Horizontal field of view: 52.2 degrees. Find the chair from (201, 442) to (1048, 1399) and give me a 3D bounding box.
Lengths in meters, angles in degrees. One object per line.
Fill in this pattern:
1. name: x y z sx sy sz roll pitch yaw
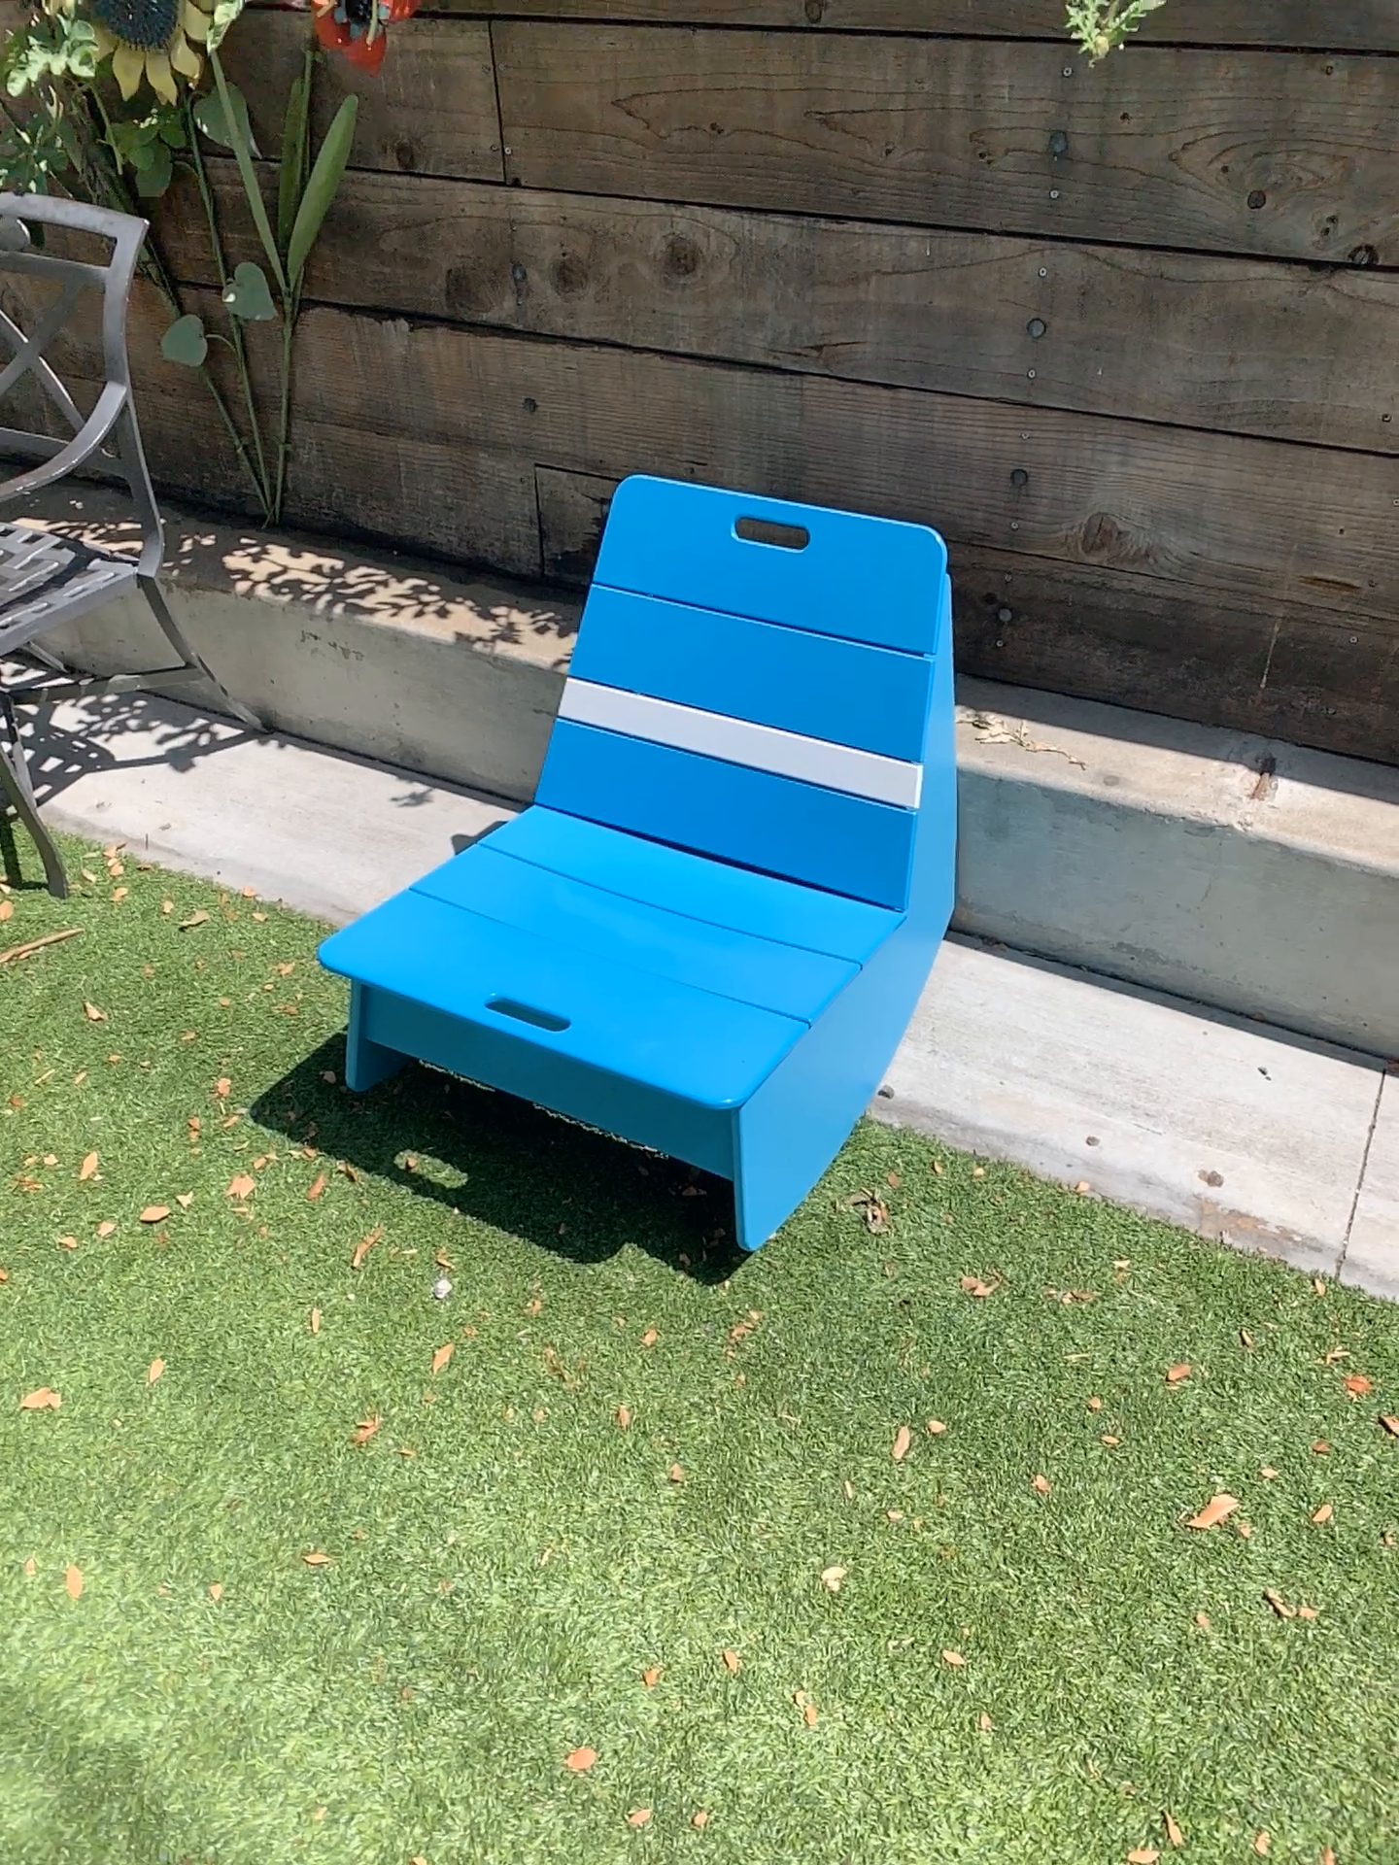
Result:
1. chair: -0.031 -0.052 1.735 0.592 0.745 0.722 20 45 24
